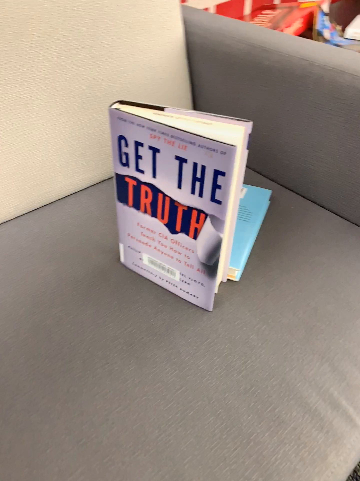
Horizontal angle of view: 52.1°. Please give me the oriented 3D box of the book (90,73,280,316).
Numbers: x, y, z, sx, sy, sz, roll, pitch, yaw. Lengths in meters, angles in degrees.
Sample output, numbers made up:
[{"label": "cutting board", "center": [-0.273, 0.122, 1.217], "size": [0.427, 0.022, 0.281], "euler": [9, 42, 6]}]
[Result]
[{"label": "book", "center": [-0.002, -0.045, 0.405], "size": [0.160, 0.219, 0.070], "euler": [23, 44, 23]}]

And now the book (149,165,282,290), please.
[{"label": "book", "center": [0.061, -0.032, 0.557], "size": [0.140, 0.030, 0.201], "euler": [16, 49, 16]}]
